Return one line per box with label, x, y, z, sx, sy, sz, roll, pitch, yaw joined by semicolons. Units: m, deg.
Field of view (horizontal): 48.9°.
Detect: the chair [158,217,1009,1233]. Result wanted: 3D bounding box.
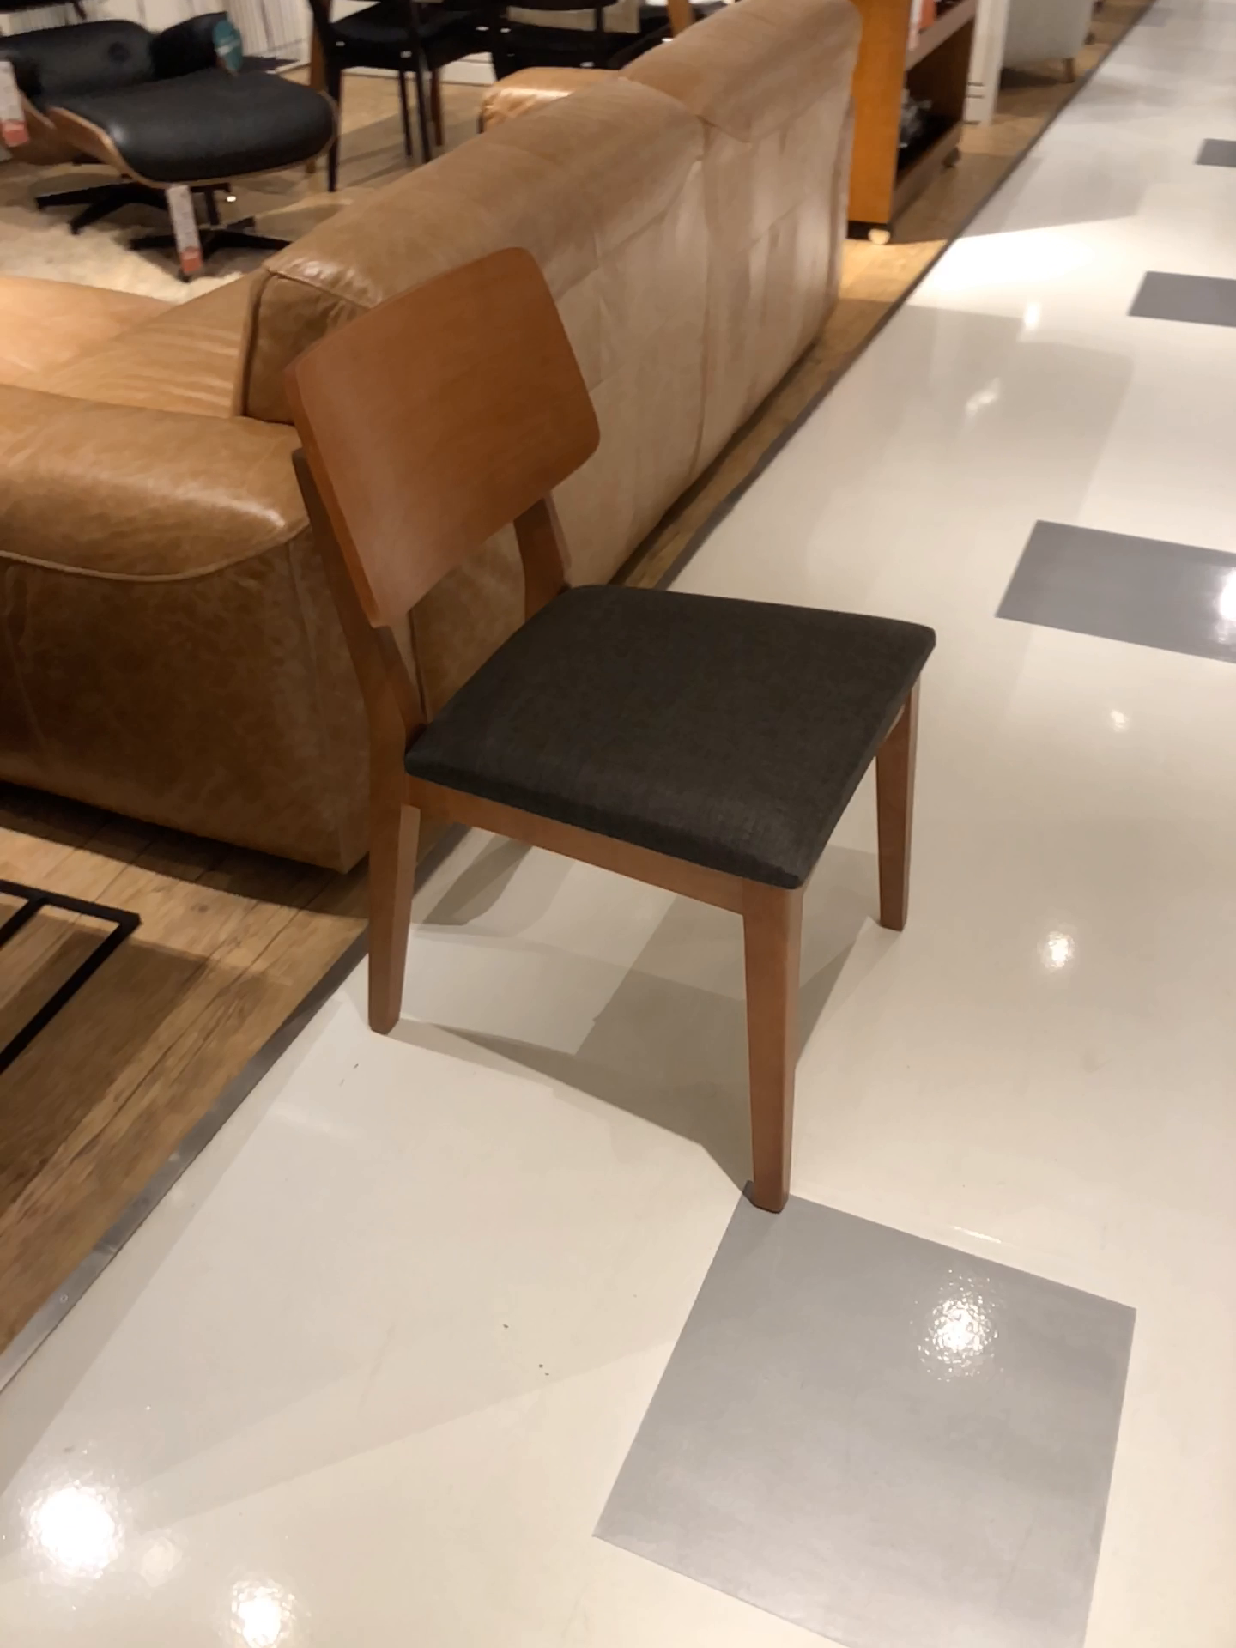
chair;0.003;-0.107;1.382;0.561;0.794;0.483;15;41;19
